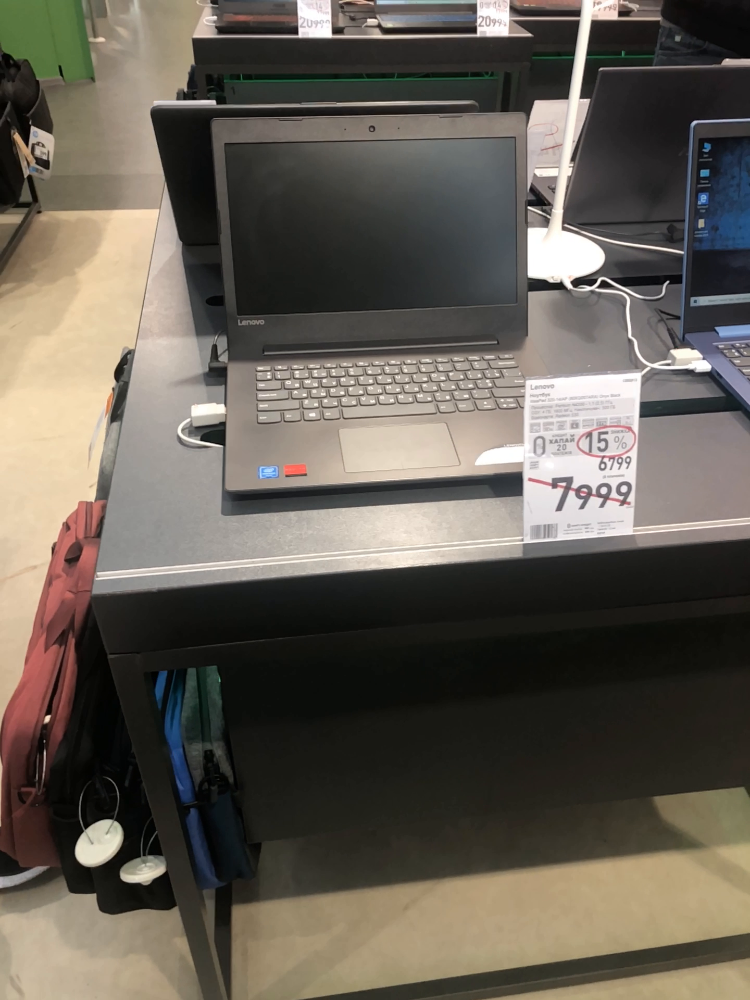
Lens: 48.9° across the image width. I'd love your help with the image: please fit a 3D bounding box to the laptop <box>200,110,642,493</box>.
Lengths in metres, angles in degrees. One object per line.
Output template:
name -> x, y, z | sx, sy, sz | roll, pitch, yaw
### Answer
laptop -> 0.016, -0.215, 0.806 | 0.330, 0.205, 0.363 | -4, 40, -6
